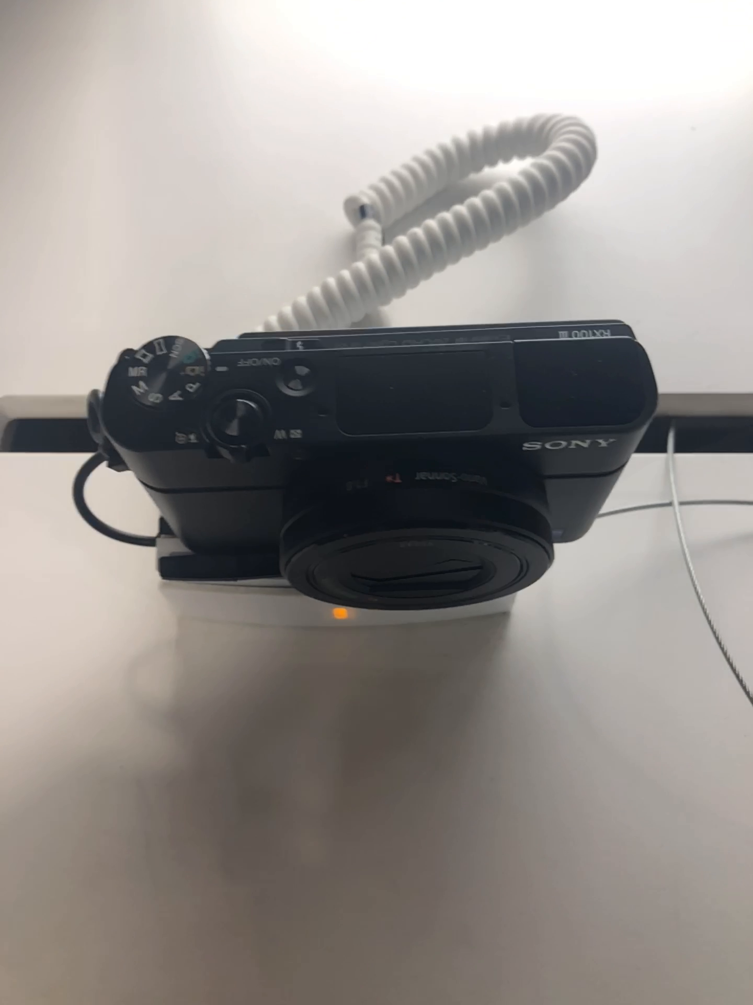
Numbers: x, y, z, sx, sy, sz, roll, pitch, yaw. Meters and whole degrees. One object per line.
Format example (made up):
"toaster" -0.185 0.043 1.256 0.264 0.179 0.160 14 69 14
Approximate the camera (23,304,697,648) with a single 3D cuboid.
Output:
"camera" -0.002 -0.002 0.159 0.102 0.051 0.041 -3 64 2
